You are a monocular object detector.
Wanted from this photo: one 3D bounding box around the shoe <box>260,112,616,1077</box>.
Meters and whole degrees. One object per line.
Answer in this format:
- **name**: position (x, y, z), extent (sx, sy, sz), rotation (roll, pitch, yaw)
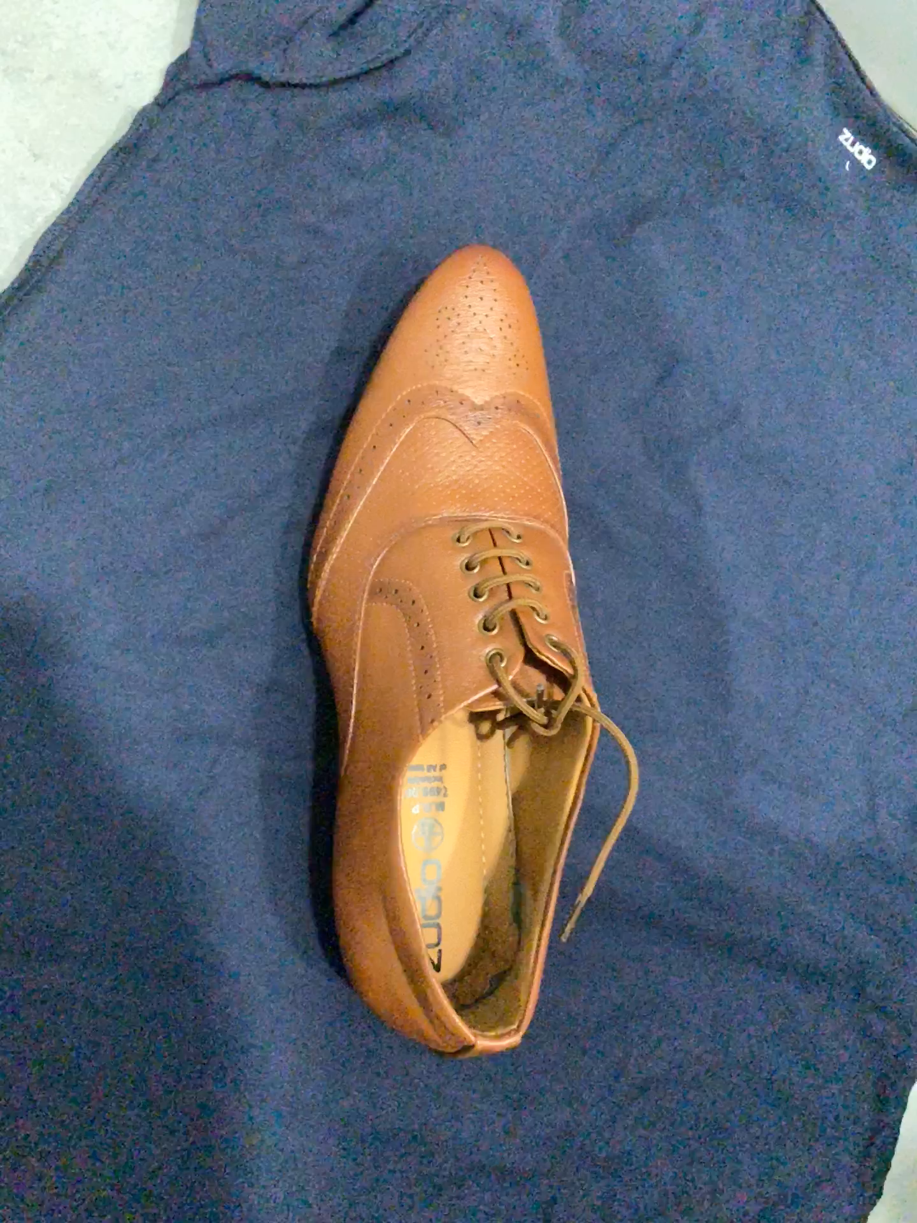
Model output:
- **shoe**: position (-0.009, -0.007, 0.365), extent (0.100, 0.090, 0.320), rotation (5, 81, -17)
